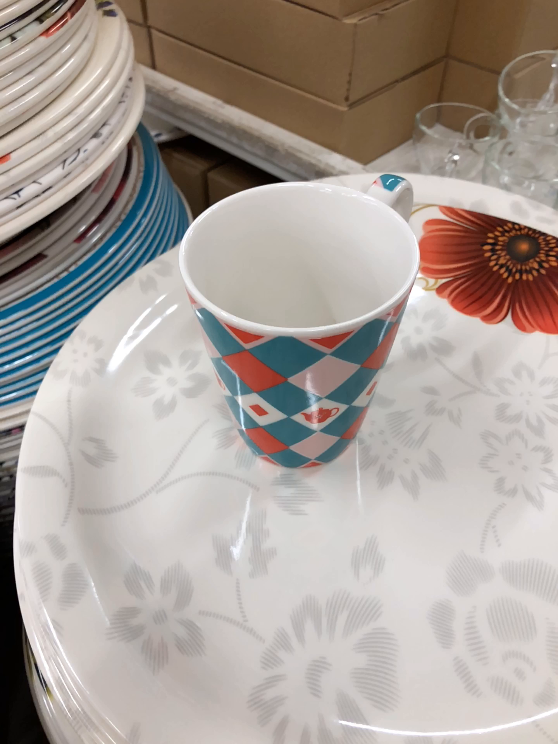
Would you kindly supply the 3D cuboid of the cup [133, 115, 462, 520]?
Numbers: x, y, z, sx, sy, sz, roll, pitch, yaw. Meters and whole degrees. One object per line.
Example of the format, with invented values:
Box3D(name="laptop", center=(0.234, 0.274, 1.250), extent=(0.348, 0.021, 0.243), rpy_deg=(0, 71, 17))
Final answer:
Box3D(name="cup", center=(0.014, -0.028, 0.272), extent=(0.080, 0.099, 0.131), rpy_deg=(19, 51, 15))
